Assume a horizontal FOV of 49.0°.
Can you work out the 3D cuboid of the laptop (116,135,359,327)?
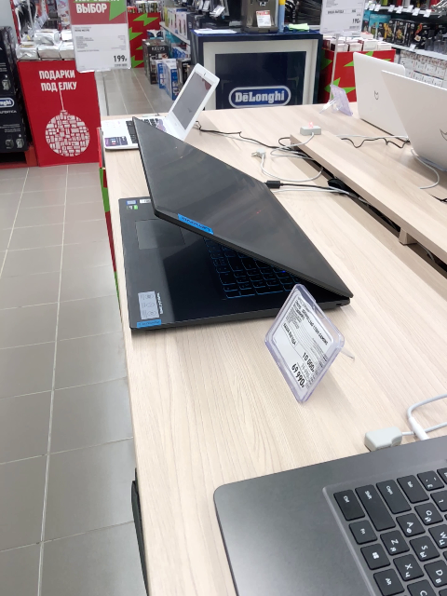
[{"bbox_3d":[-0.017,-0.131,0.739,0.271,0.129,0.391,-7,30,-8],"label":"laptop"}]
